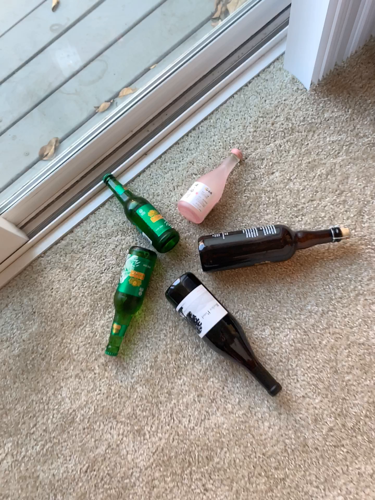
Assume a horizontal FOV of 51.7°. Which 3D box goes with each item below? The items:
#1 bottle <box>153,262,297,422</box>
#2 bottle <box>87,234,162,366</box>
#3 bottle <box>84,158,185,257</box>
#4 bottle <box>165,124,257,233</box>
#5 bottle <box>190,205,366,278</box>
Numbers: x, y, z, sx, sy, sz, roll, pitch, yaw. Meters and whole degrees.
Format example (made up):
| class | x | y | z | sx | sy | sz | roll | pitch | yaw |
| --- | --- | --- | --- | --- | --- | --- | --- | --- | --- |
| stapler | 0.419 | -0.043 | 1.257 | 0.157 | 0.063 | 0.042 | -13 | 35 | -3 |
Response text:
| class | x | y | z | sx | sy | sz | roll | pitch | yaw |
| --- | --- | --- | --- | --- | --- | --- | --- | --- | --- |
| bottle | 0.066 | 0.163 | 0.722 | 0.070 | 0.090 | 0.300 | -41 | 73 | -2 |
| bottle | -0.120 | 0.100 | 0.772 | 0.060 | 0.090 | 0.240 | 12 | 78 | 12 |
| bottle | -0.114 | -0.091 | 0.837 | 0.230 | 0.080 | 0.060 | 43 | 86 | 16 |
| bottle | 0.052 | -0.145 | 0.799 | 0.070 | 0.090 | 0.200 | 38 | 85 | 16 |
| bottle | 0.168 | -0.012 | 0.761 | 0.310 | 0.090 | 0.070 | -10 | 75 | 7 |
